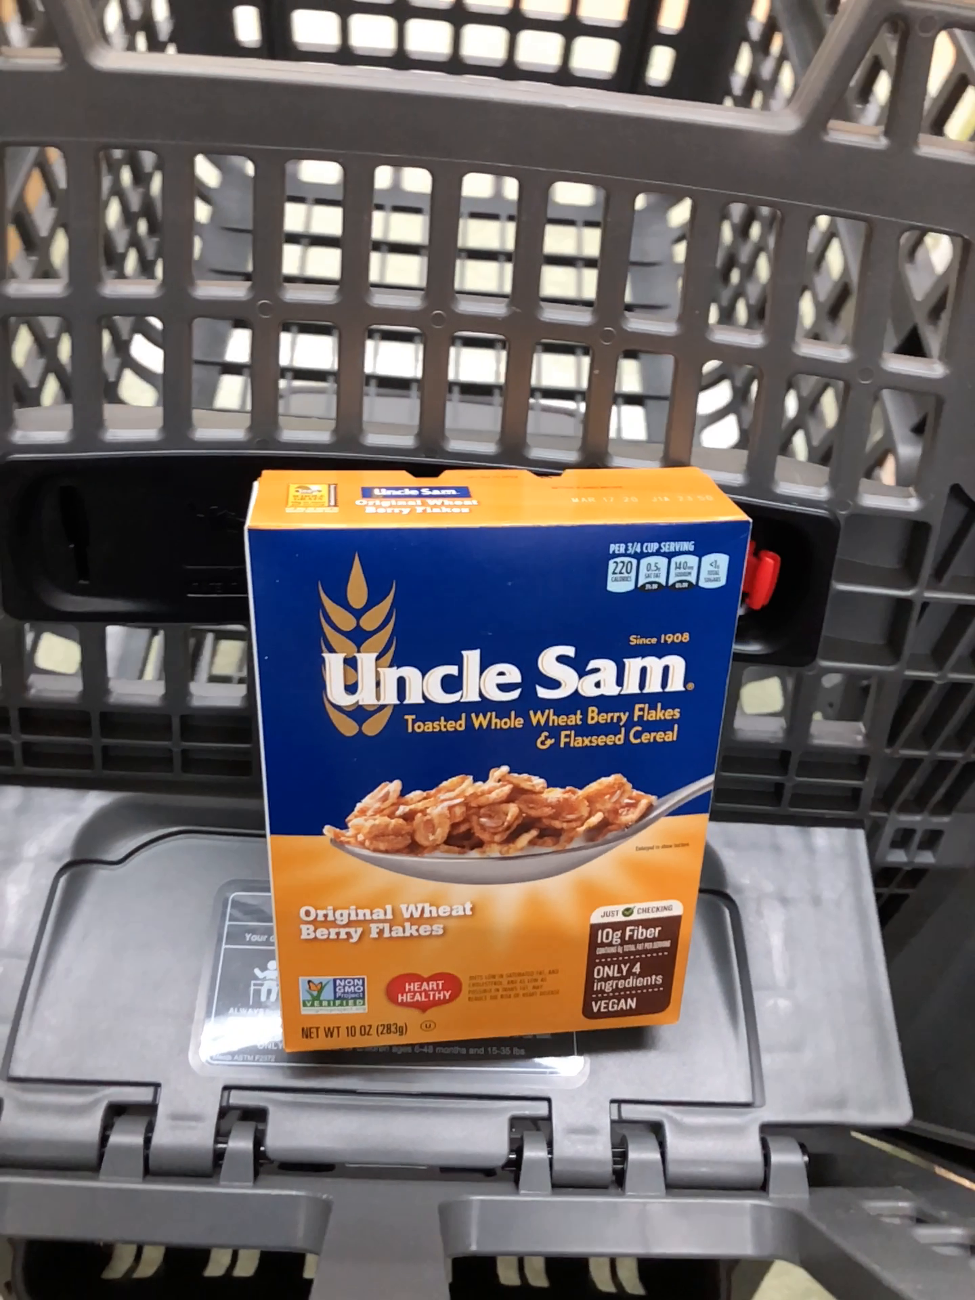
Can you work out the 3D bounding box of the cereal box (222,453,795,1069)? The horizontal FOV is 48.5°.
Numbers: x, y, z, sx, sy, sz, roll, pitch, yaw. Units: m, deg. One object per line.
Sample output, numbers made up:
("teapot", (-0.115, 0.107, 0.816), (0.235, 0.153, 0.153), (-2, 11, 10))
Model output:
("cereal box", (0.003, 0.043, 0.369), (0.160, 0.210, 0.050), (-1, 27, -6))
